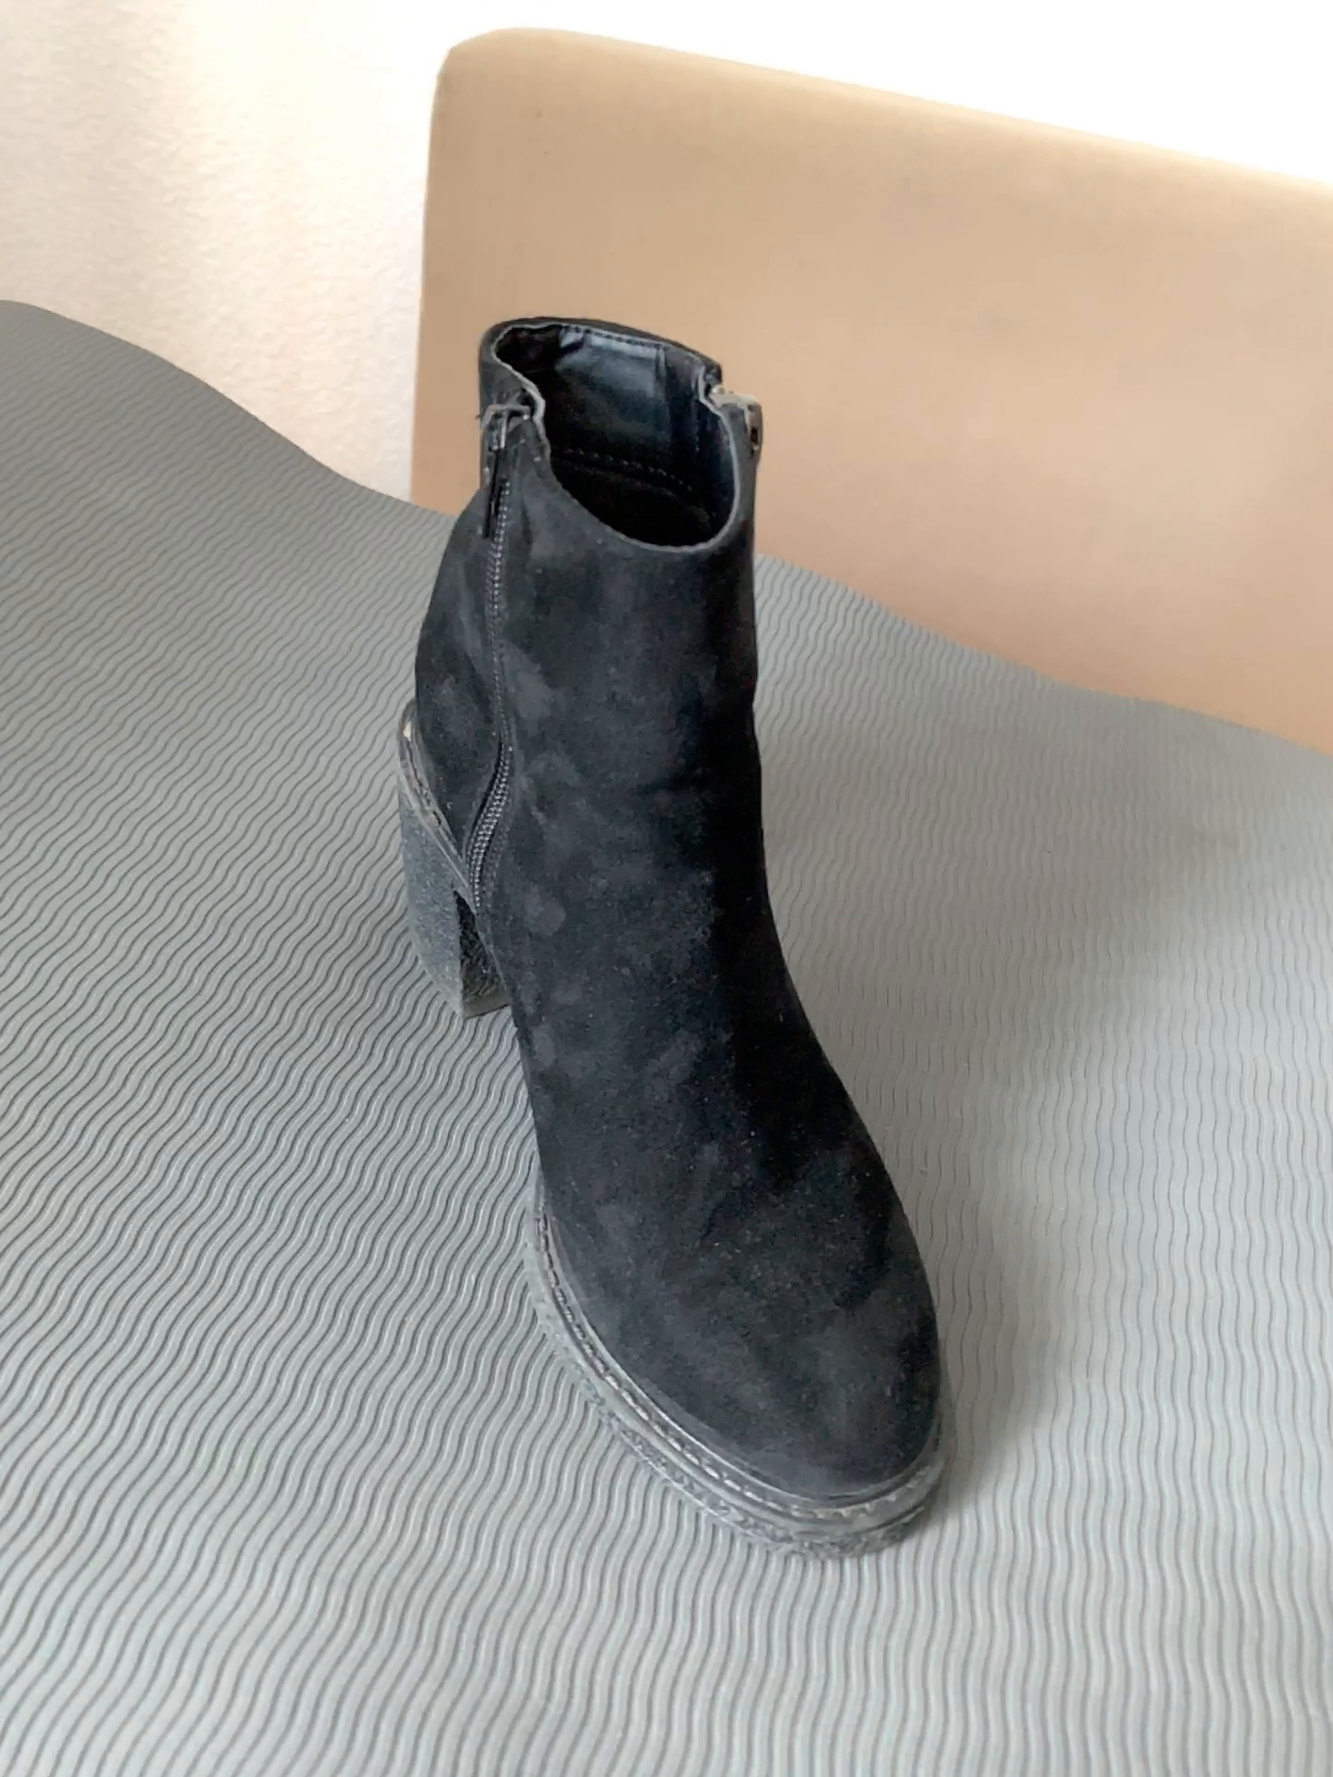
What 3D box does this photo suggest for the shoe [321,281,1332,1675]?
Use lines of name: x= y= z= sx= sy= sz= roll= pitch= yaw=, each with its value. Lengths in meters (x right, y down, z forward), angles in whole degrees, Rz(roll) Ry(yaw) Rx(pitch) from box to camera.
shoe: x=0.008 y=-0.004 z=0.304 sx=0.098 sy=0.179 sz=0.241 roll=-12 pitch=42 yaw=-26
